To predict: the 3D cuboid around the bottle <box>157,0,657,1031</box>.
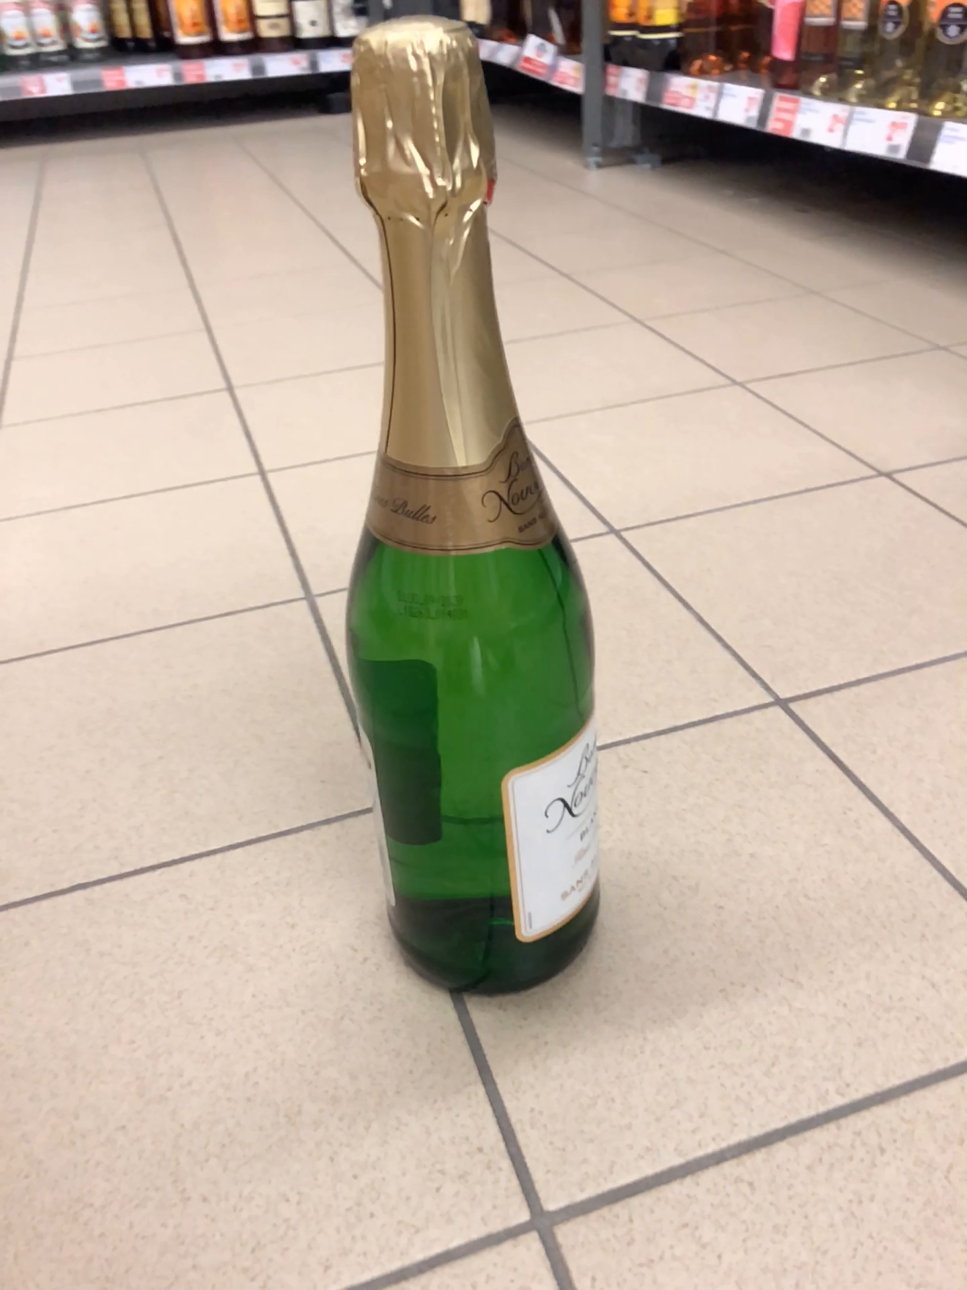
[{"bbox_3d":[-0.003,-0.026,0.339,0.090,0.298,0.101,8,34,18],"label":"bottle"}]
